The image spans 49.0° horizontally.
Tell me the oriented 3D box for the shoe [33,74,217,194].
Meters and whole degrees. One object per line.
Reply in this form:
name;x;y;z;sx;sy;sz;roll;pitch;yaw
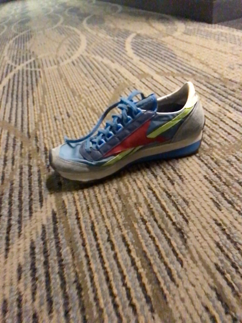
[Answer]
shoe;0.006;-0.050;0.428;0.259;0.095;0.101;-15;36;-6
